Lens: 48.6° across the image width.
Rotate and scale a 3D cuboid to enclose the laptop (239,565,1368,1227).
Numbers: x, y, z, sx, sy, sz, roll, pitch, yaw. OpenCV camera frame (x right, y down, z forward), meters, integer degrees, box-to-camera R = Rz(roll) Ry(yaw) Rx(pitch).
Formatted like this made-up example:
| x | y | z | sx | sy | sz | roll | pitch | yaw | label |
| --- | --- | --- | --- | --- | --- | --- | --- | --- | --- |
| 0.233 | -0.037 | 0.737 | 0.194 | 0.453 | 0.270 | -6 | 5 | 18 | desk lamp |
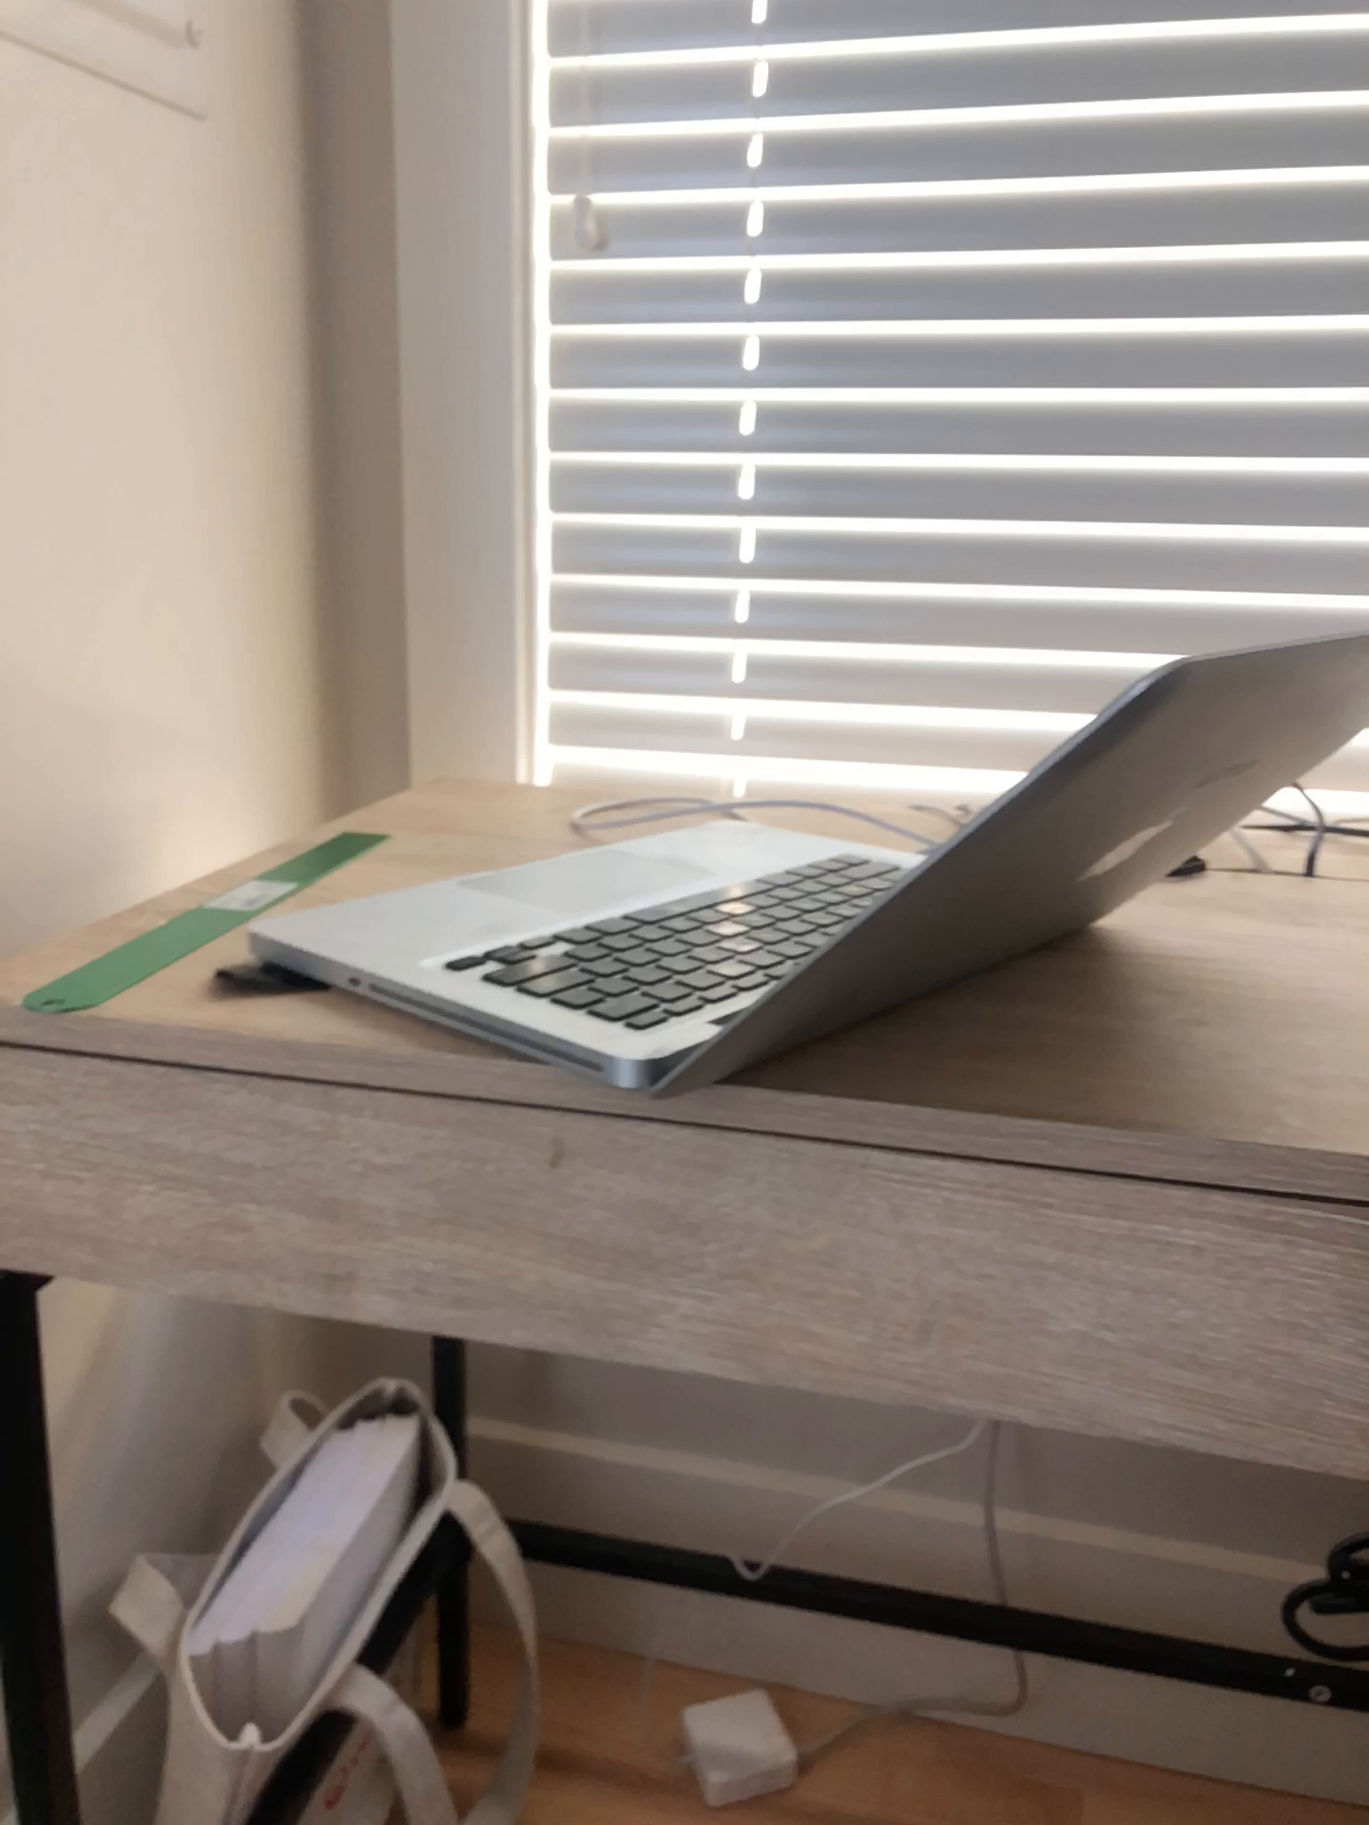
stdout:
| x | y | z | sx | sy | sz | roll | pitch | yaw | label |
| --- | --- | --- | --- | --- | --- | --- | --- | --- | --- |
| 0.070 | -0.052 | 0.592 | 0.345 | 0.133 | 0.321 | 15 | 20 | 37 | laptop |
